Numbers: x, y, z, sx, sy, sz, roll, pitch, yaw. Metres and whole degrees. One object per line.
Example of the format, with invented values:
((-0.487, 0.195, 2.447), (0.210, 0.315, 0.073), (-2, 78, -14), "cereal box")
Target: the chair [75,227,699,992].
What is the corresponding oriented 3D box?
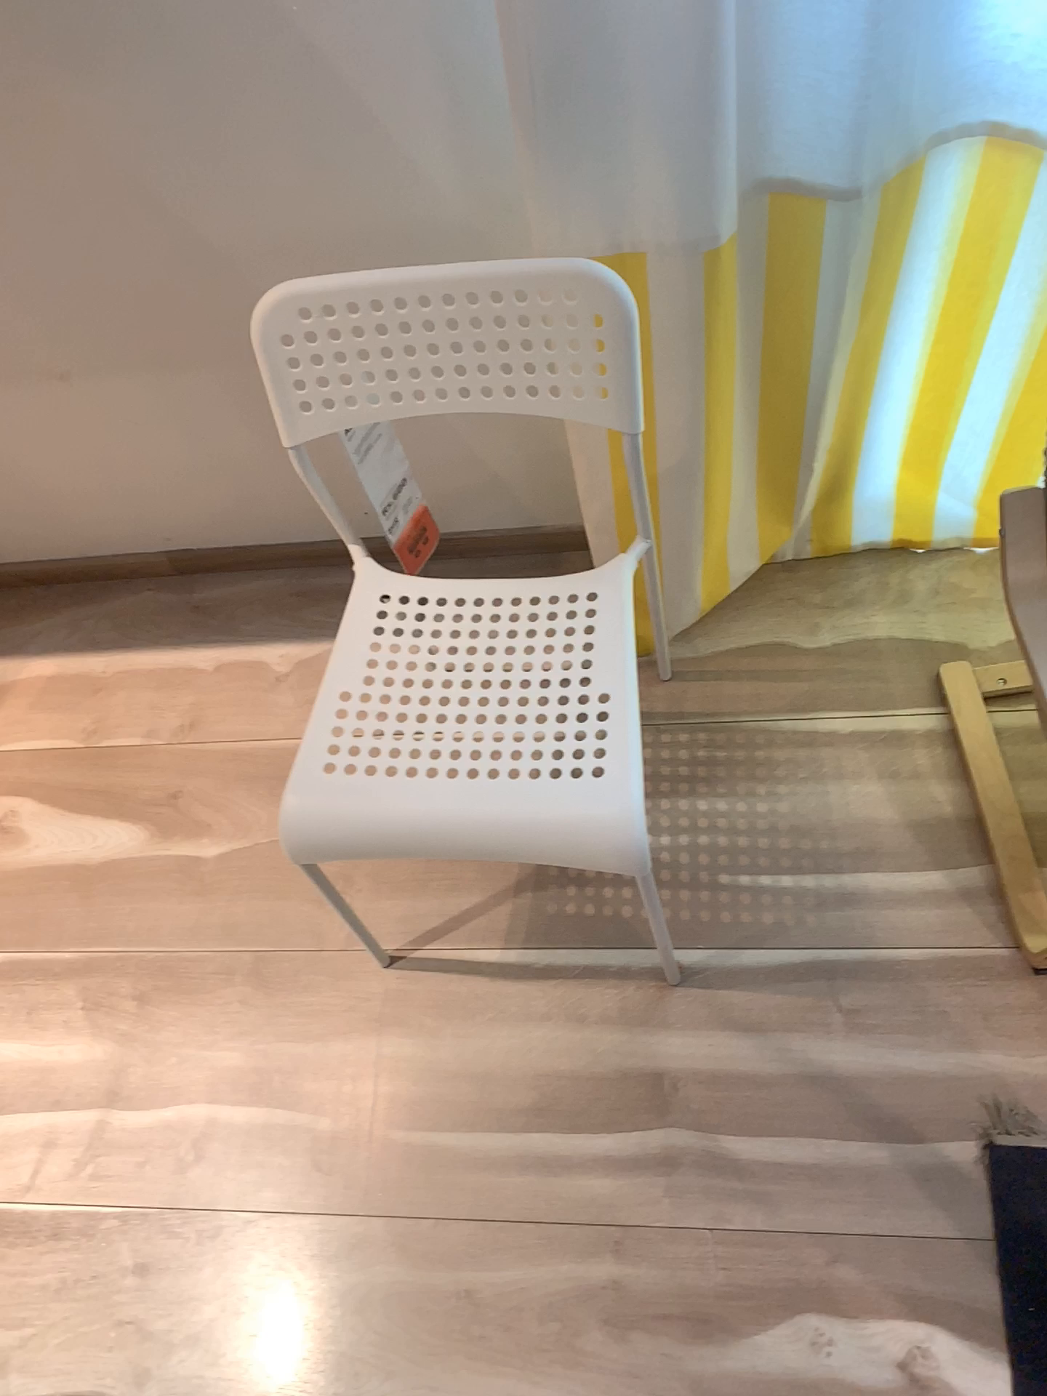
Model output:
((-0.043, -0.032, 1.166), (0.440, 0.658, 0.531), (-1, 62, 11), "chair")
